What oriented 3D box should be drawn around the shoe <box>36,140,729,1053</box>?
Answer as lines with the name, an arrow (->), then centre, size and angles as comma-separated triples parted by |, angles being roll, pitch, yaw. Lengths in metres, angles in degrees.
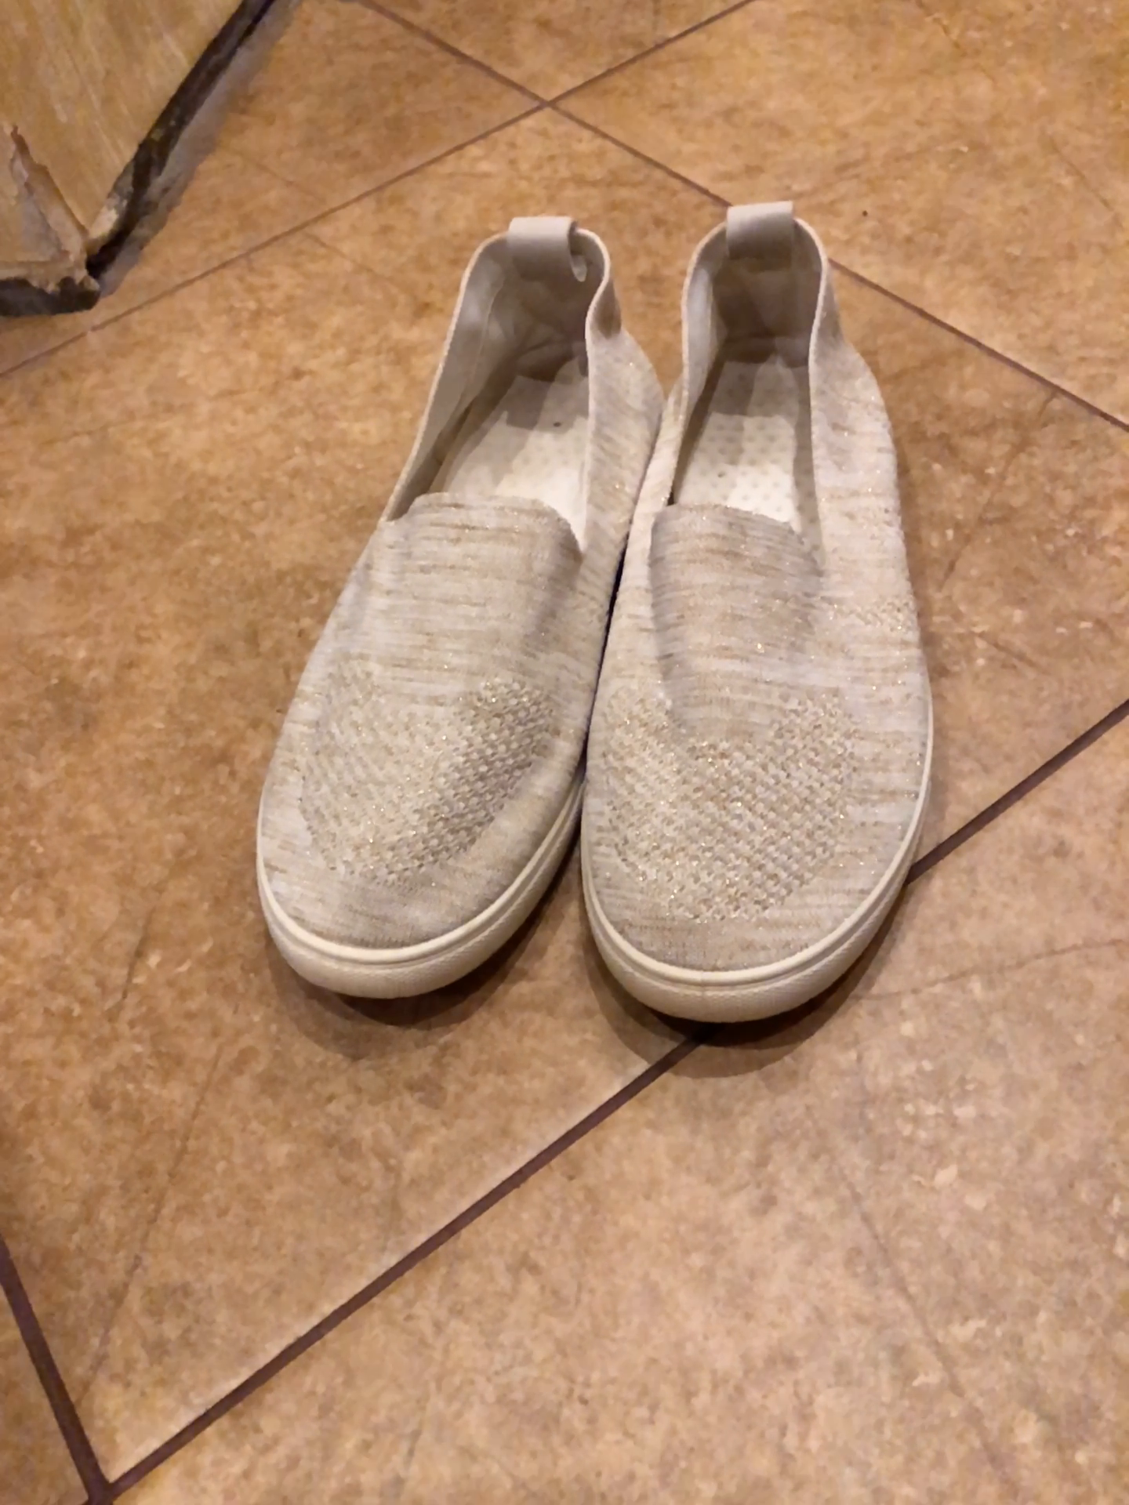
shoe -> -0.024, -0.060, 0.336 | 0.090, 0.080, 0.251 | 7, 55, 15

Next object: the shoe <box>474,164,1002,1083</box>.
shoe -> 0.053, -0.052, 0.347 | 0.100, 0.080, 0.261 | 1, 54, 11
